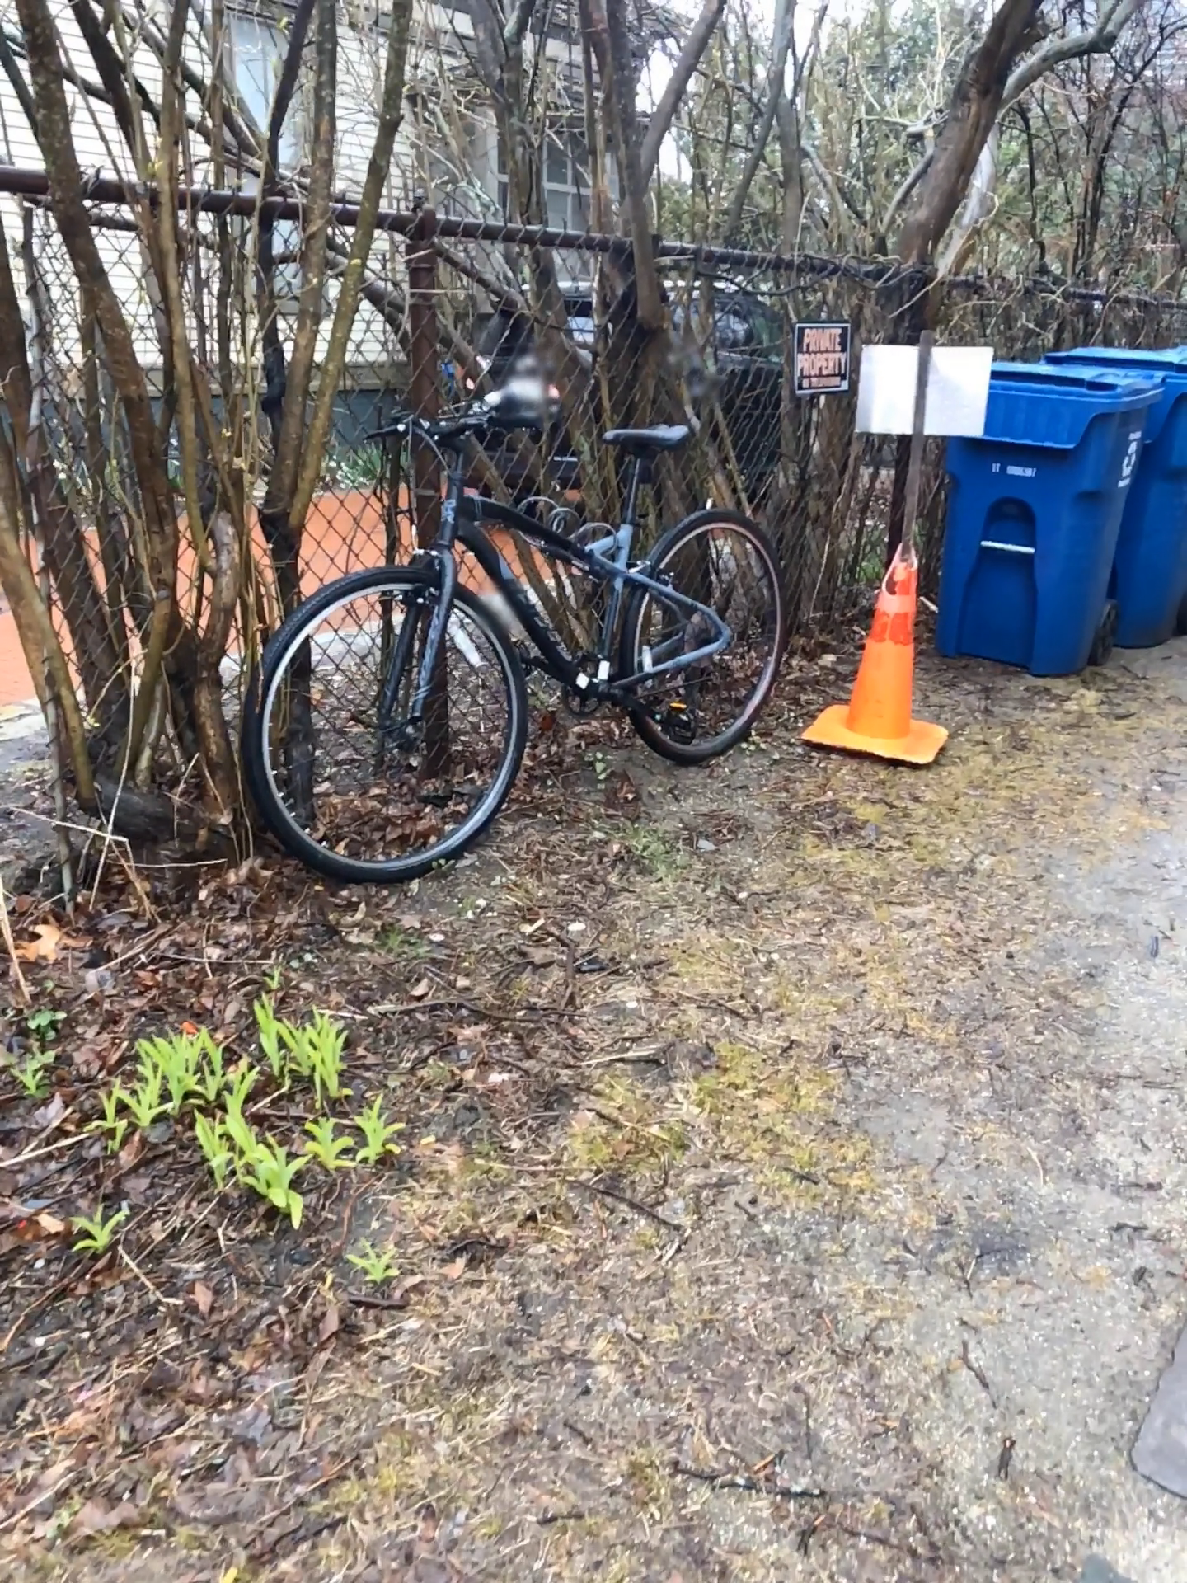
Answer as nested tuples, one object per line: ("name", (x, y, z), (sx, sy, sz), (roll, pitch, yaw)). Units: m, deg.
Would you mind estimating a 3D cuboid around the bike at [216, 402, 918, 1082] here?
("bike", (0.052, -0.292, 3.256), (0.537, 1.068, 1.893), (17, 29, 40))
